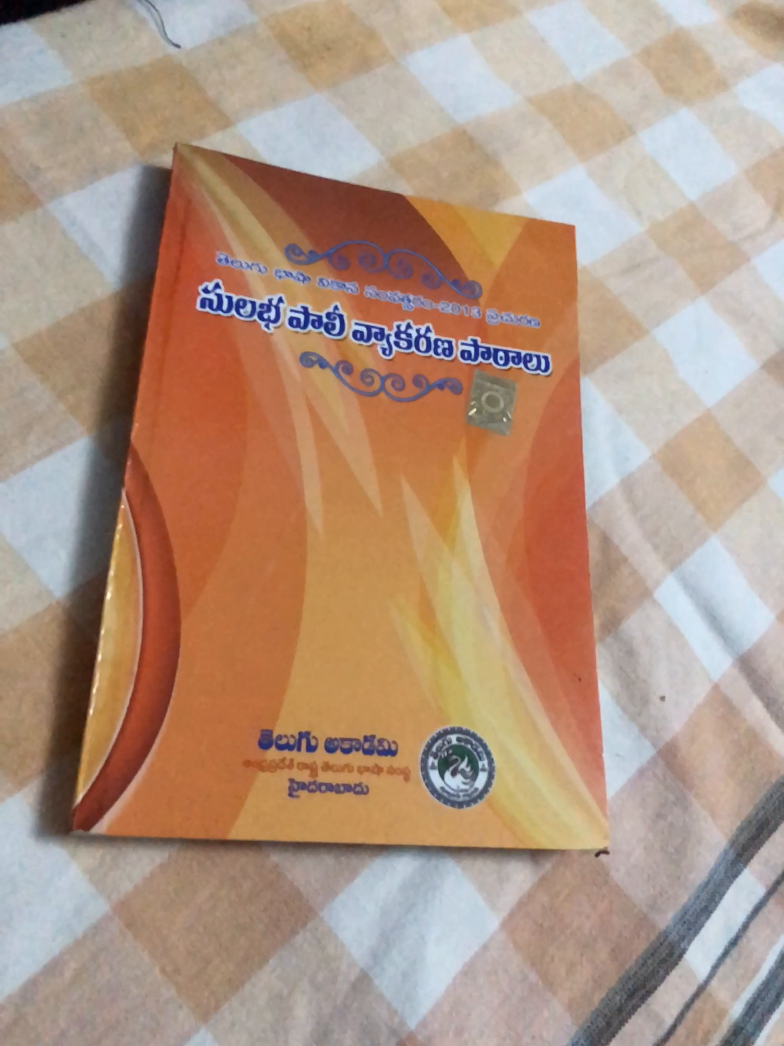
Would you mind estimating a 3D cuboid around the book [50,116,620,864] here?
[{"bbox_3d":[-0.008,-0.014,0.256,0.140,0.020,0.210,8,67,-16],"label":"book"}]
